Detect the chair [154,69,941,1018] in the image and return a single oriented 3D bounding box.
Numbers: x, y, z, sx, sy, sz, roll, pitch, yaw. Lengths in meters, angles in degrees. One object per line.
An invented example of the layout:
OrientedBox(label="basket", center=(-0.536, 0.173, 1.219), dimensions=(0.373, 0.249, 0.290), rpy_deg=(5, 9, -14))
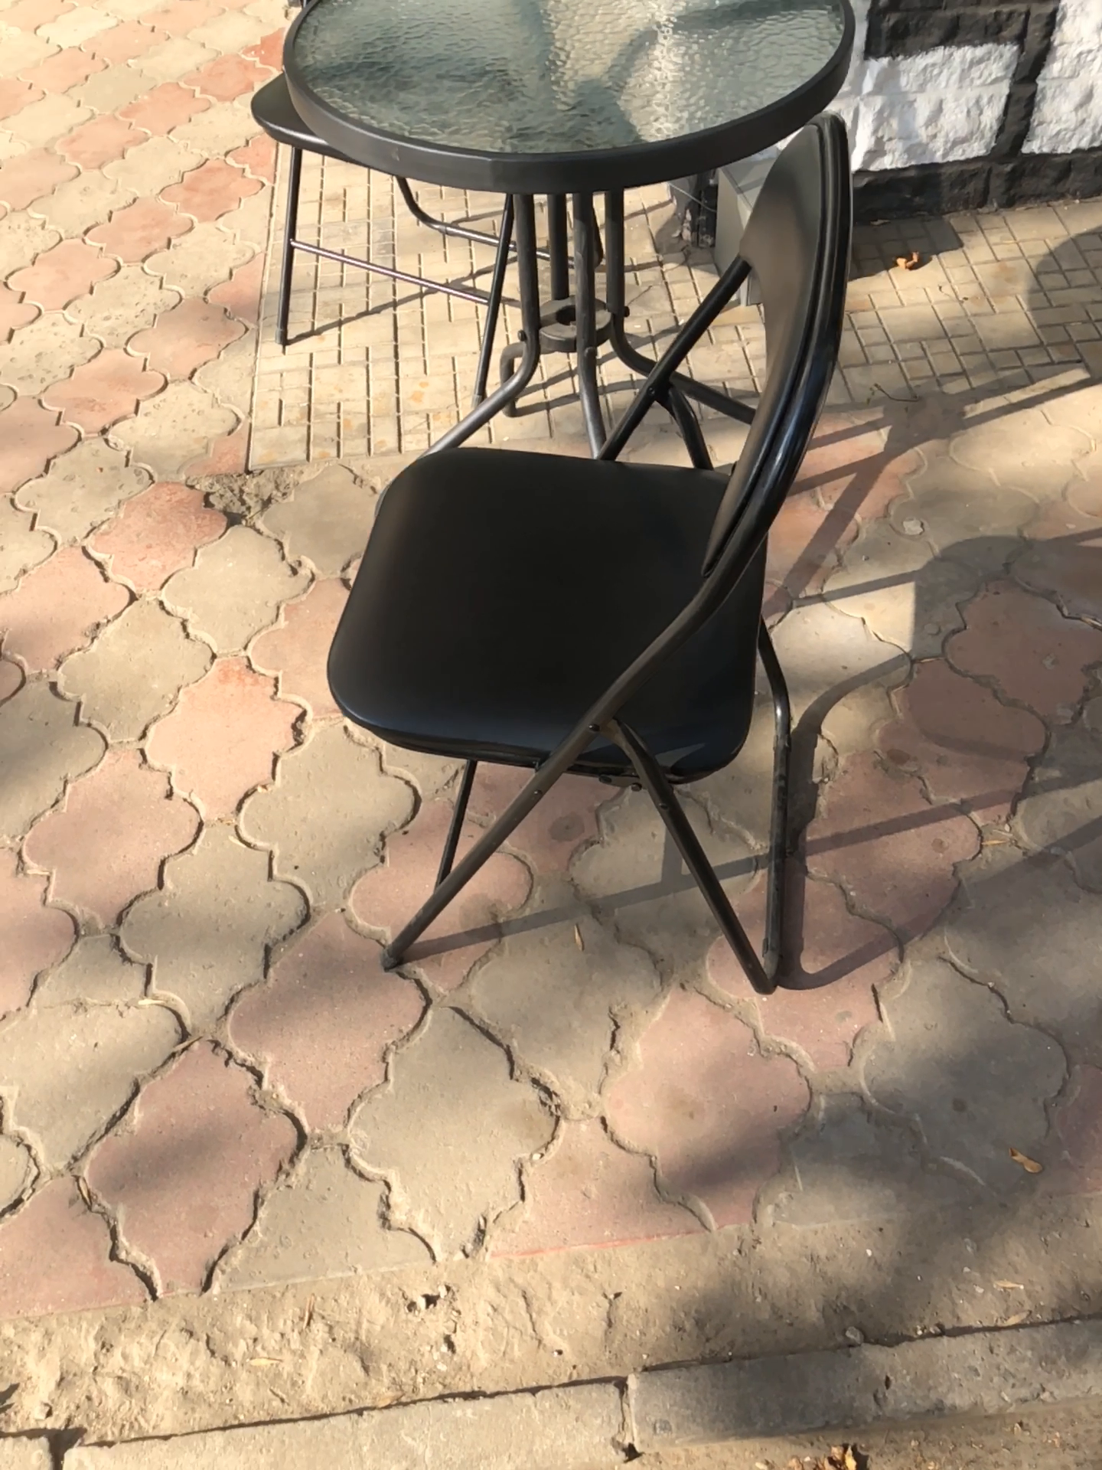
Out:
OrientedBox(label="chair", center=(0.041, -0.148, 1.139), dimensions=(0.470, 0.698, 0.502), rpy_deg=(5, 51, 7))
